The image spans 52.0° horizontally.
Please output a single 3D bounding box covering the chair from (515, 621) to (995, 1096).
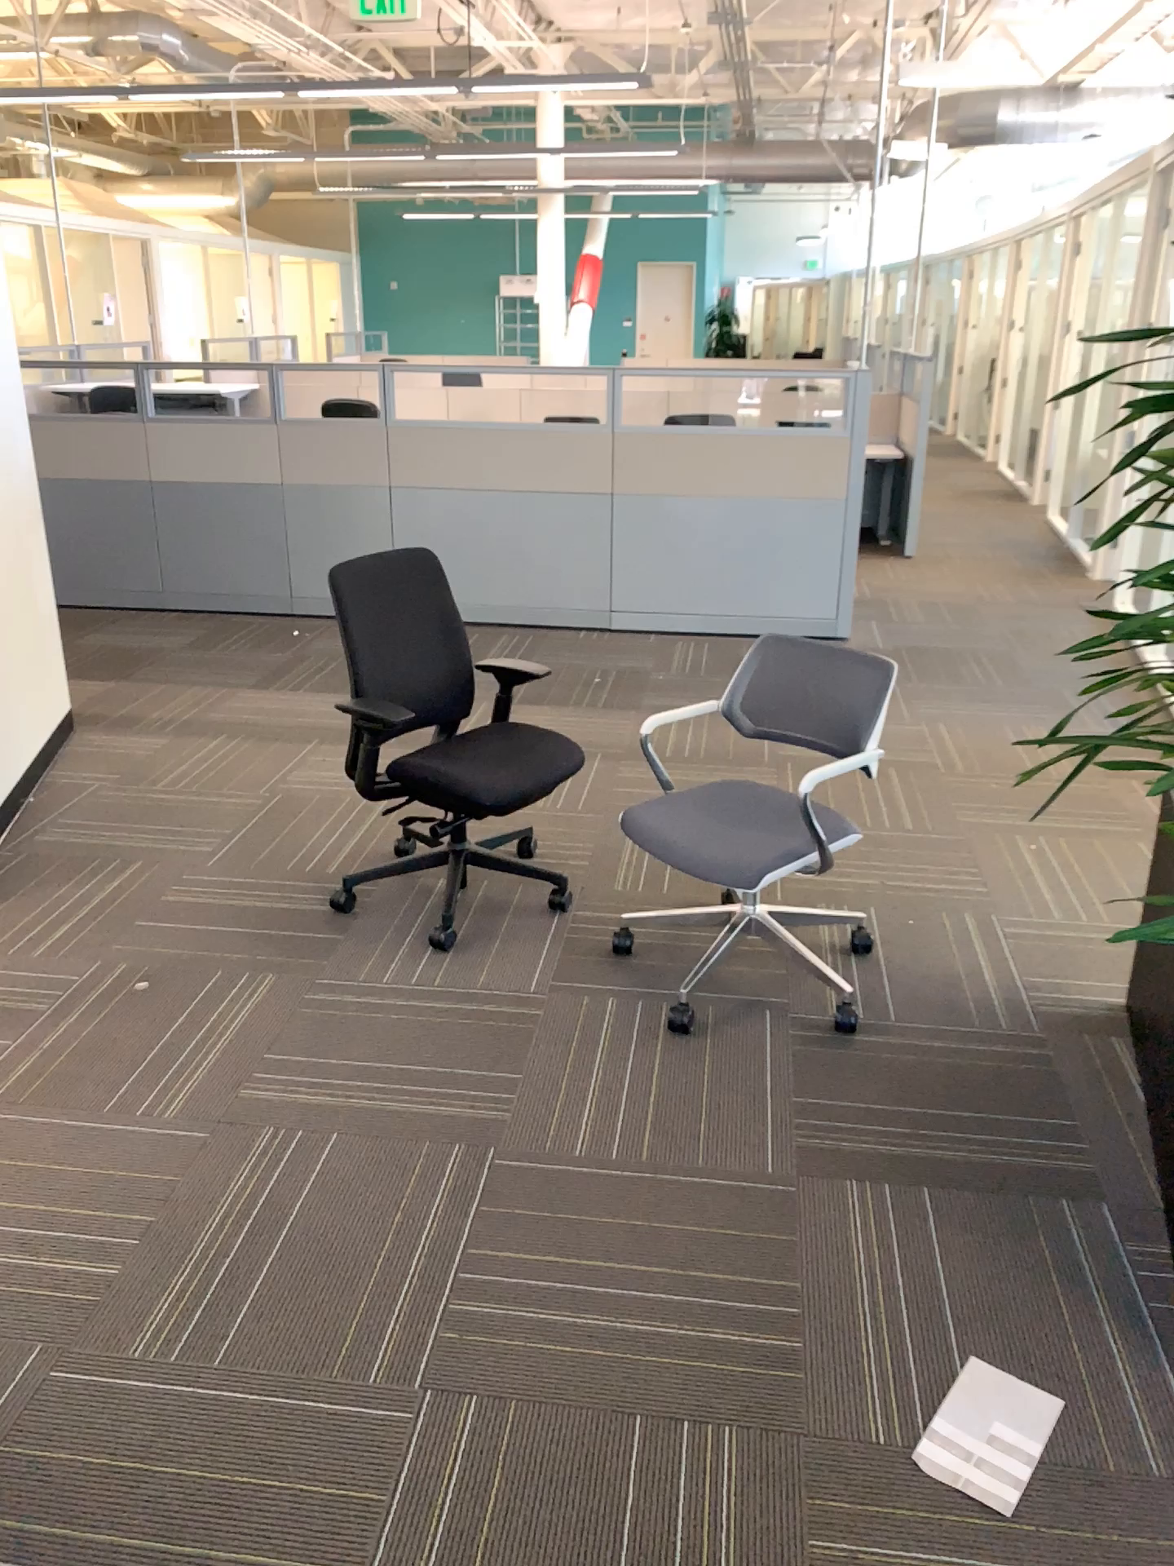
[{"bbox_3d":[0.391,0.108,2.960,0.804,0.756,0.790,20,28,41],"label":"chair"}]

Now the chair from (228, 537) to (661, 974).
[{"bbox_3d":[-0.387,-0.149,3.399,0.854,0.885,0.801,19,27,40],"label":"chair"}]
